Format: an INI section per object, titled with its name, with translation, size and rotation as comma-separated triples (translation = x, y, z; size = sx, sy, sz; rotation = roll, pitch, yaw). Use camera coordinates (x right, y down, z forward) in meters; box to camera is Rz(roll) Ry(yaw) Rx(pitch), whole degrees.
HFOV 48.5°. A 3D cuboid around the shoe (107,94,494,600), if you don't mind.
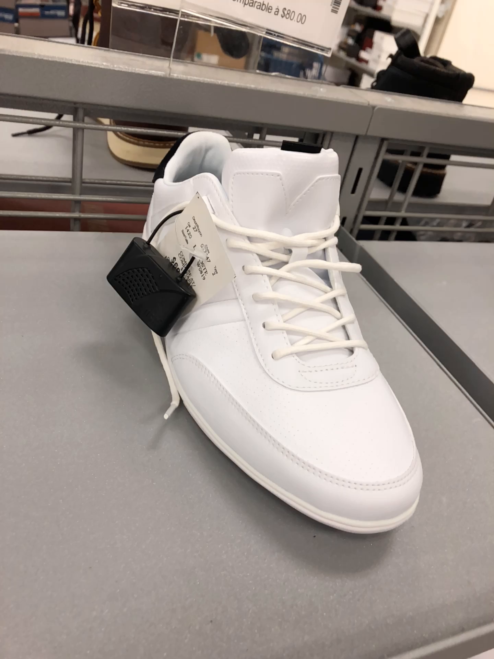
[shoe]
translation = 0.013, -0.025, 0.306
size = 0.110, 0.119, 0.272
rotation = -6, 38, -27
